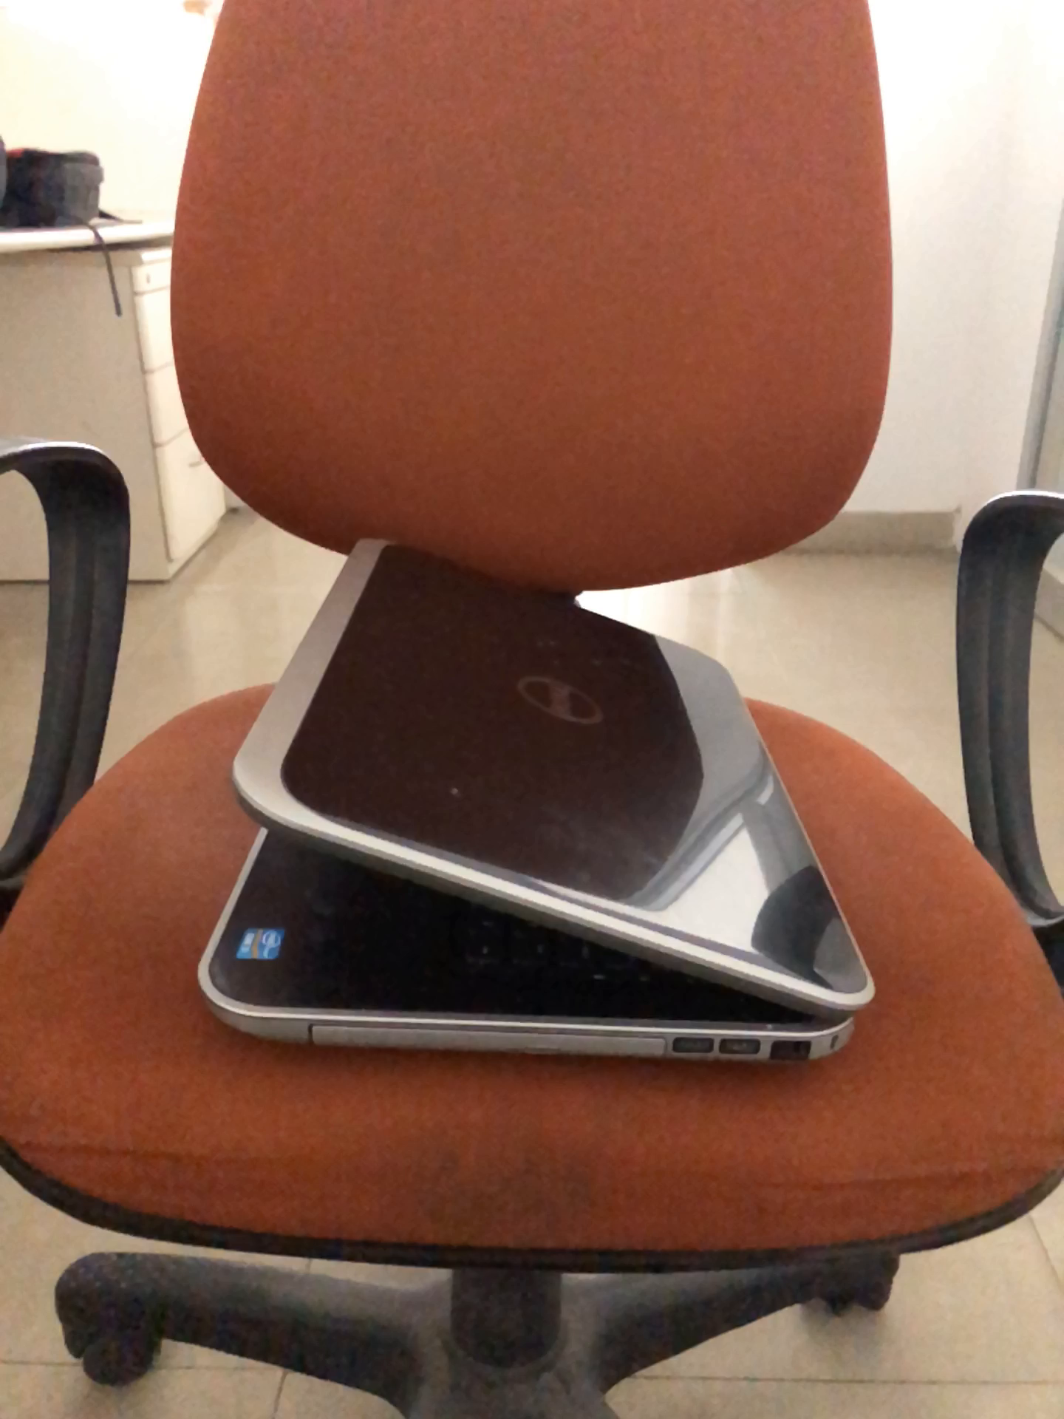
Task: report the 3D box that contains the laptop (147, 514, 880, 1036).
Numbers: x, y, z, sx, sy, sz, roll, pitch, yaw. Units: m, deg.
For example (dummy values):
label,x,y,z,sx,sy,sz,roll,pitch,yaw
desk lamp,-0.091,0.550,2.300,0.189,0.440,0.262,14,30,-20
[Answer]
label,x,y,z,sx,sy,sz,roll,pitch,yaw
laptop,-0.005,-0.002,0.561,0.233,0.091,0.368,3,22,-1
